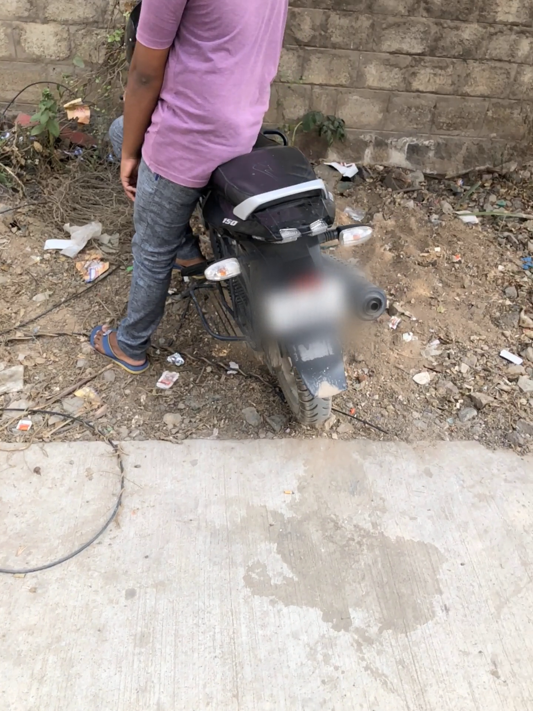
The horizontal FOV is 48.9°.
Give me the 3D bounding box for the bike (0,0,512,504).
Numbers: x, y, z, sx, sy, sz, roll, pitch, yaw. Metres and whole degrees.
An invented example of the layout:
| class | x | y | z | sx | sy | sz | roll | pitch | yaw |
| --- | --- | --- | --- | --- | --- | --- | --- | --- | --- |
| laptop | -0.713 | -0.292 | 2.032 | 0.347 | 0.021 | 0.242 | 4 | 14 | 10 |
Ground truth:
| class | x | y | z | sx | sy | sz | roll | pitch | yaw |
| --- | --- | --- | --- | --- | --- | --- | --- | --- | --- |
| bike | -0.305 | -0.688 | 2.028 | 0.815 | 1.214 | 1.818 | -11 | 43 | -21 |
